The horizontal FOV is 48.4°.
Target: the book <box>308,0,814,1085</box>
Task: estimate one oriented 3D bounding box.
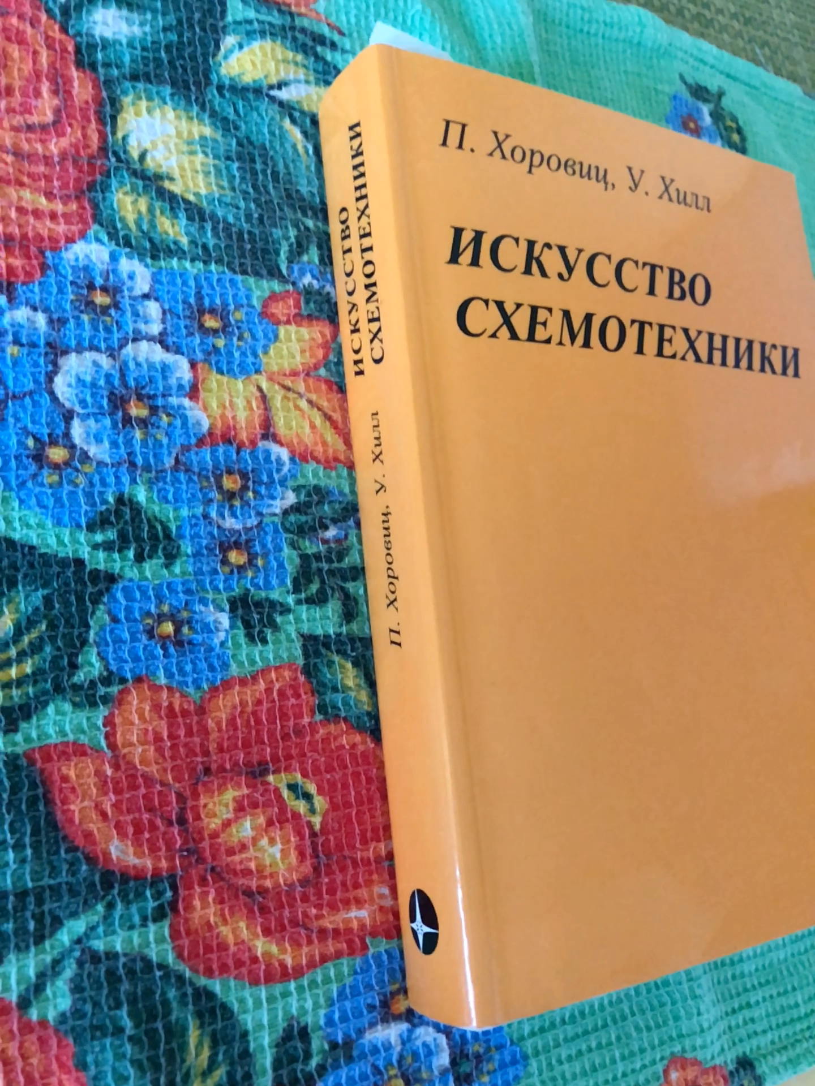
[{"bbox_3d":[0.074,-0.011,0.271,0.181,0.050,0.260,2,73,-28],"label":"book"}]
